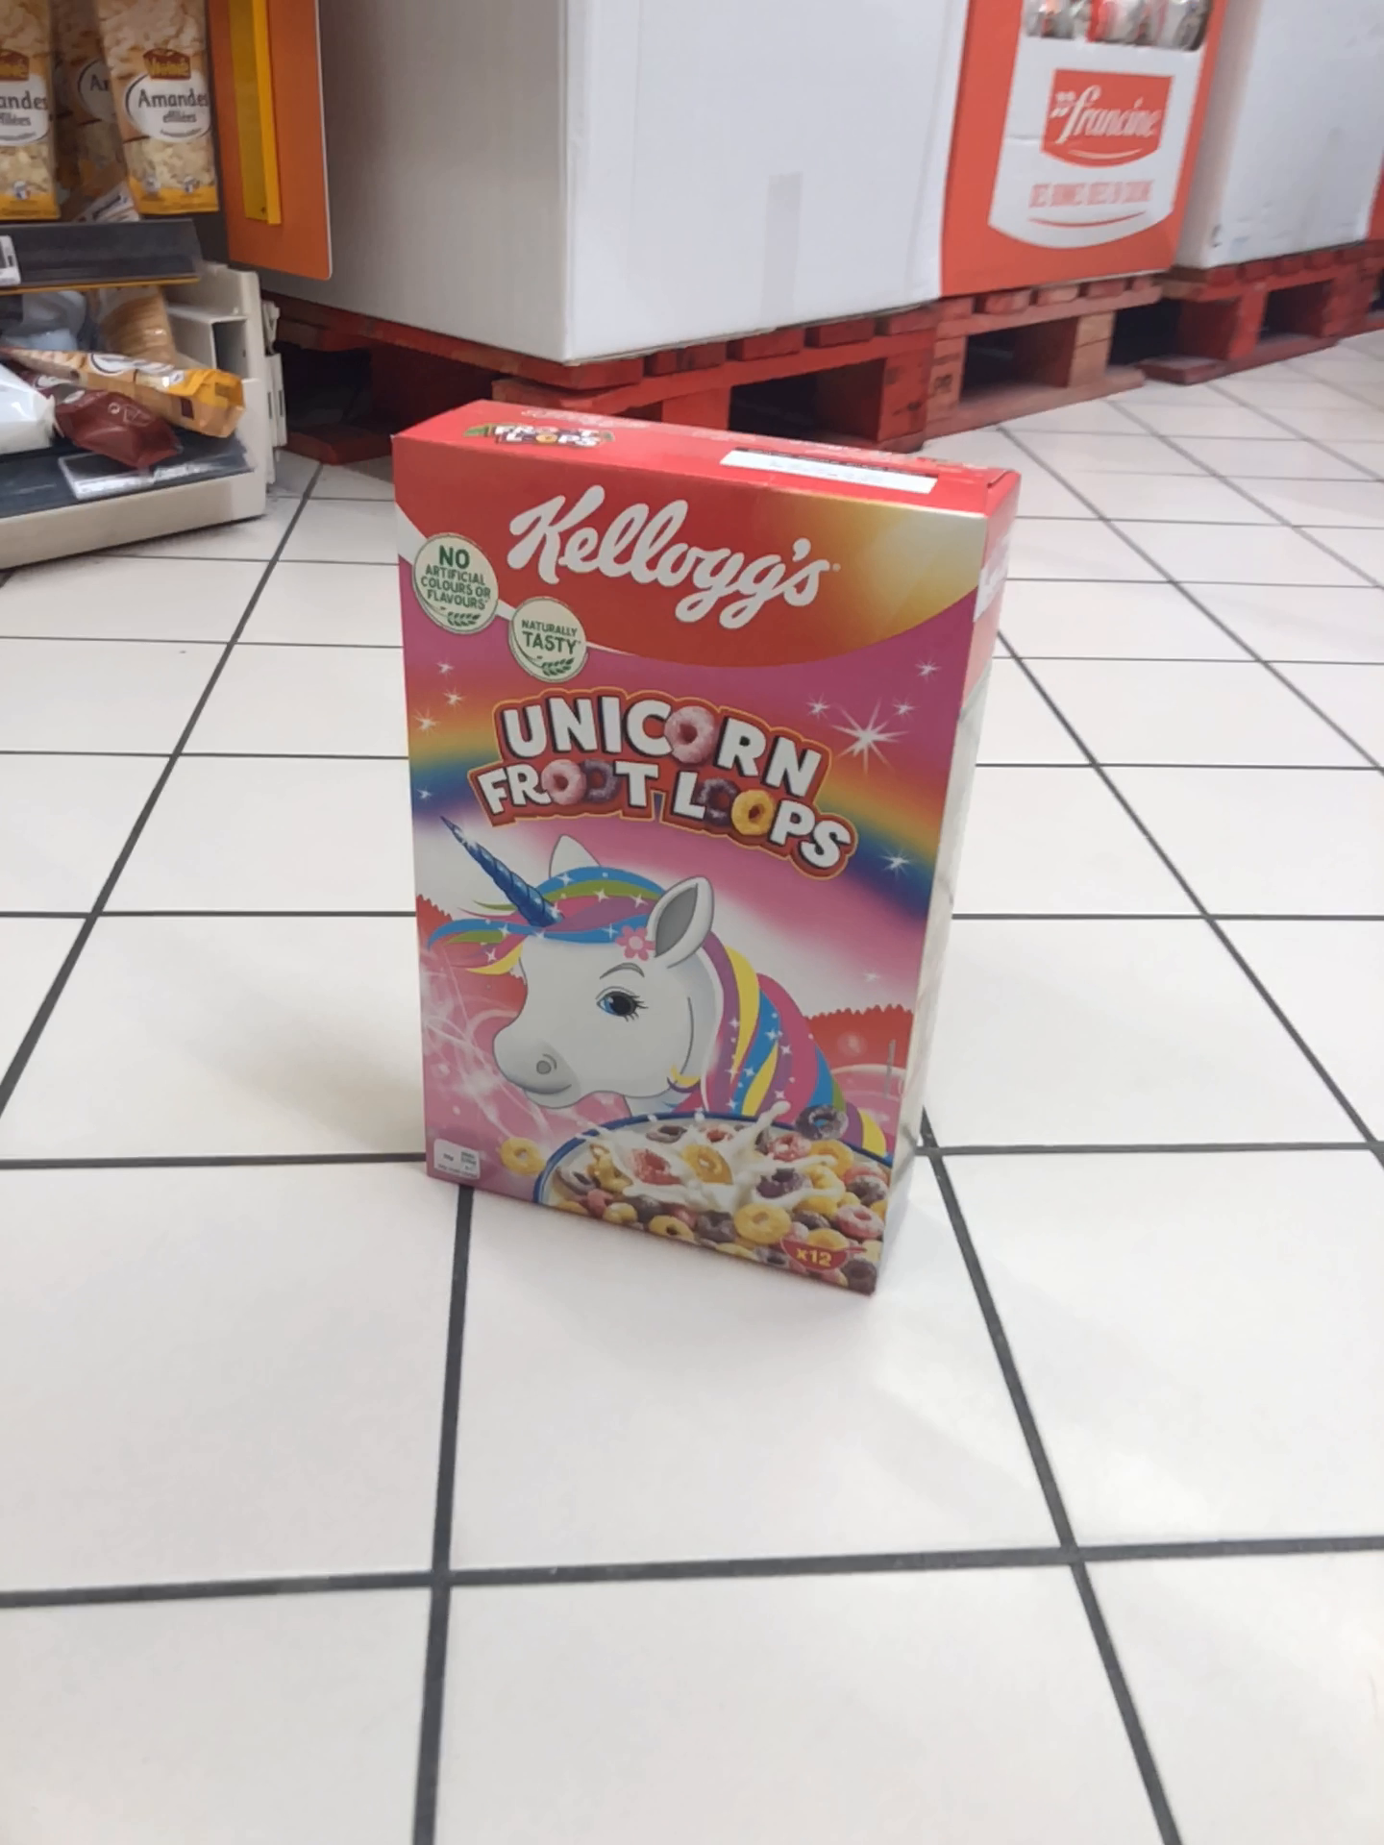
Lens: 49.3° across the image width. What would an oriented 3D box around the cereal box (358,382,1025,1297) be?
[{"bbox_3d":[-0.008,-0.025,0.552,0.200,0.298,0.070,12,31,15],"label":"cereal box"}]
